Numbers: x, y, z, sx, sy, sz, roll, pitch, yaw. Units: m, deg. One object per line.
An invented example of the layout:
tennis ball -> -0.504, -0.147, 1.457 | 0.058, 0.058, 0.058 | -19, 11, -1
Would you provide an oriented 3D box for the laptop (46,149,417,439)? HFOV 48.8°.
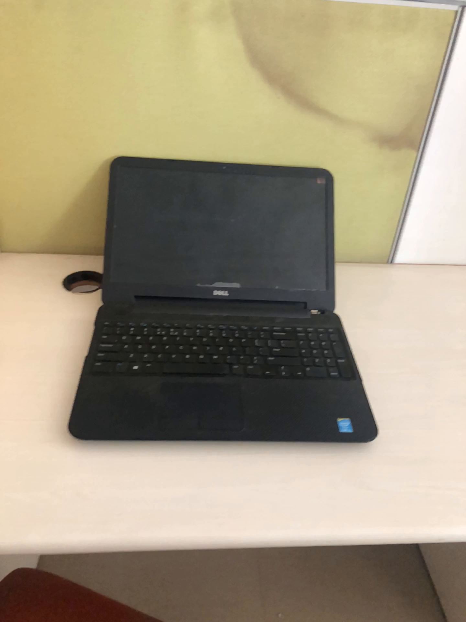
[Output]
laptop -> -0.011, -0.053, 0.704 | 0.355, 0.158, 0.429 | 2, 38, -5
